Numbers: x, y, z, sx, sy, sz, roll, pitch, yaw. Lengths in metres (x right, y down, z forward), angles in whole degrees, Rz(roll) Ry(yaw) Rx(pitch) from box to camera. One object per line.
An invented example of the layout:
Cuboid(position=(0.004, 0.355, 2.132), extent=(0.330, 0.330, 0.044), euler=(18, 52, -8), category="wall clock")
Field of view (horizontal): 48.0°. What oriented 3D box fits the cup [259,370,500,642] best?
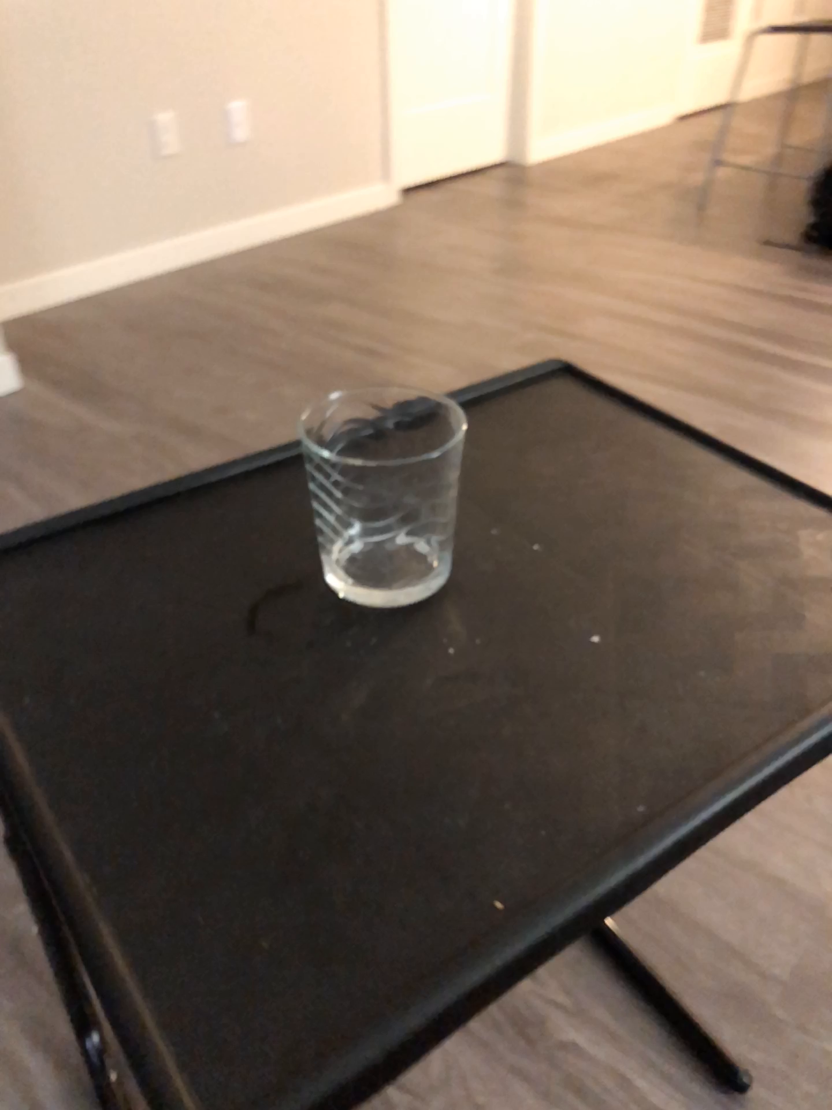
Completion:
Cuboid(position=(-0.018, -0.031, 0.521), extent=(0.090, 0.099, 0.090), euler=(0, 34, 0), category="cup")
